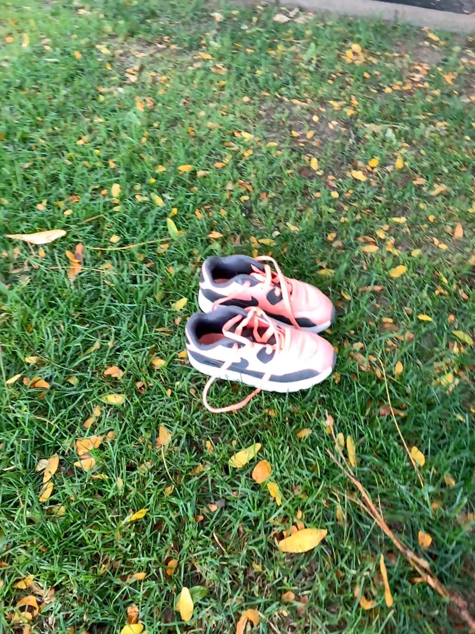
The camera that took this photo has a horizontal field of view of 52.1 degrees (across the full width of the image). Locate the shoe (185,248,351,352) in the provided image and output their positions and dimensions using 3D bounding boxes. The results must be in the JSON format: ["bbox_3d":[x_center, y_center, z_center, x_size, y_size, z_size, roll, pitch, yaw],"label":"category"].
[{"bbox_3d":[0.041,-0.025,0.650,0.200,0.070,0.080,11,54,12],"label":"shoe"}]

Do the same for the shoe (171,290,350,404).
[{"bbox_3d":[0.030,0.035,0.606,0.200,0.070,0.080,11,54,12],"label":"shoe"}]
